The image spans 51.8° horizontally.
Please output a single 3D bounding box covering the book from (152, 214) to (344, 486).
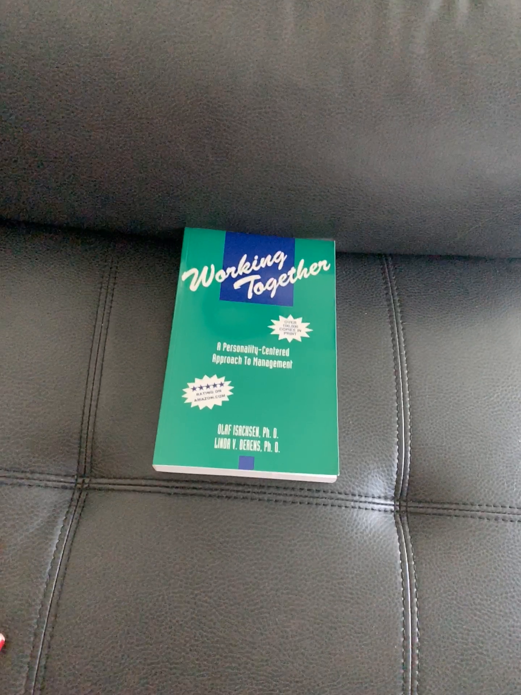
[{"bbox_3d":[-0.004,-0.004,0.441,0.137,0.033,0.217,6,65,-5],"label":"book"}]
